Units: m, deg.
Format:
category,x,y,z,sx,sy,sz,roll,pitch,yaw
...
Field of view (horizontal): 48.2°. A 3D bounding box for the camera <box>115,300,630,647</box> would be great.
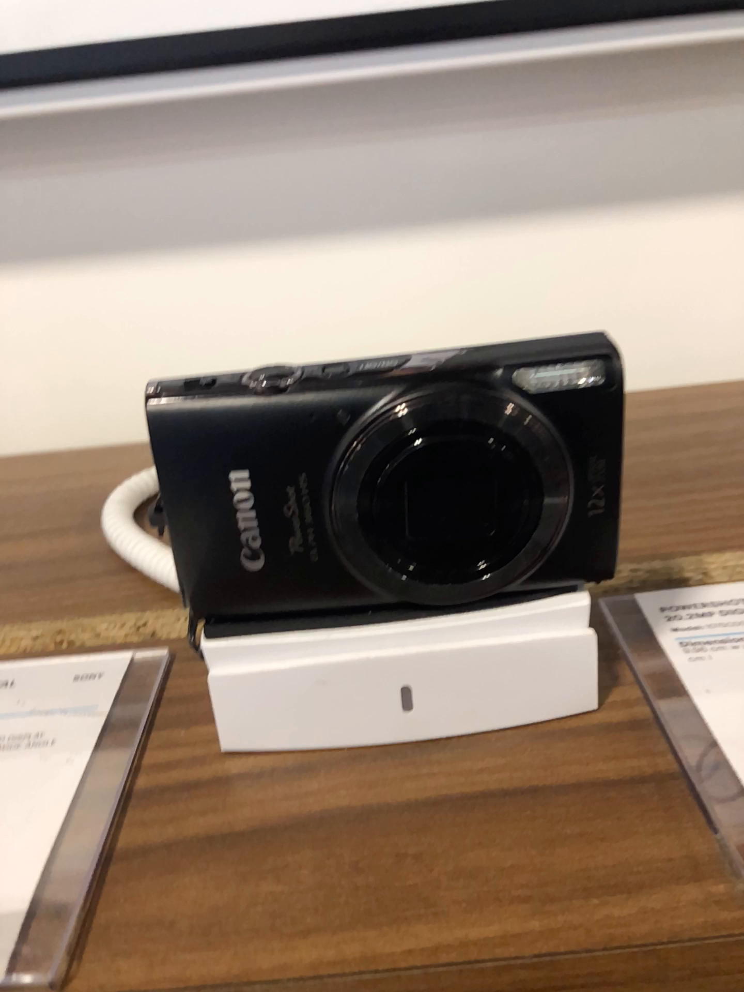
category,x,y,z,sx,sy,sz,roll,pitch,yaw
camera,0.002,-0.006,0.185,0.100,0.060,0.030,-6,22,0
